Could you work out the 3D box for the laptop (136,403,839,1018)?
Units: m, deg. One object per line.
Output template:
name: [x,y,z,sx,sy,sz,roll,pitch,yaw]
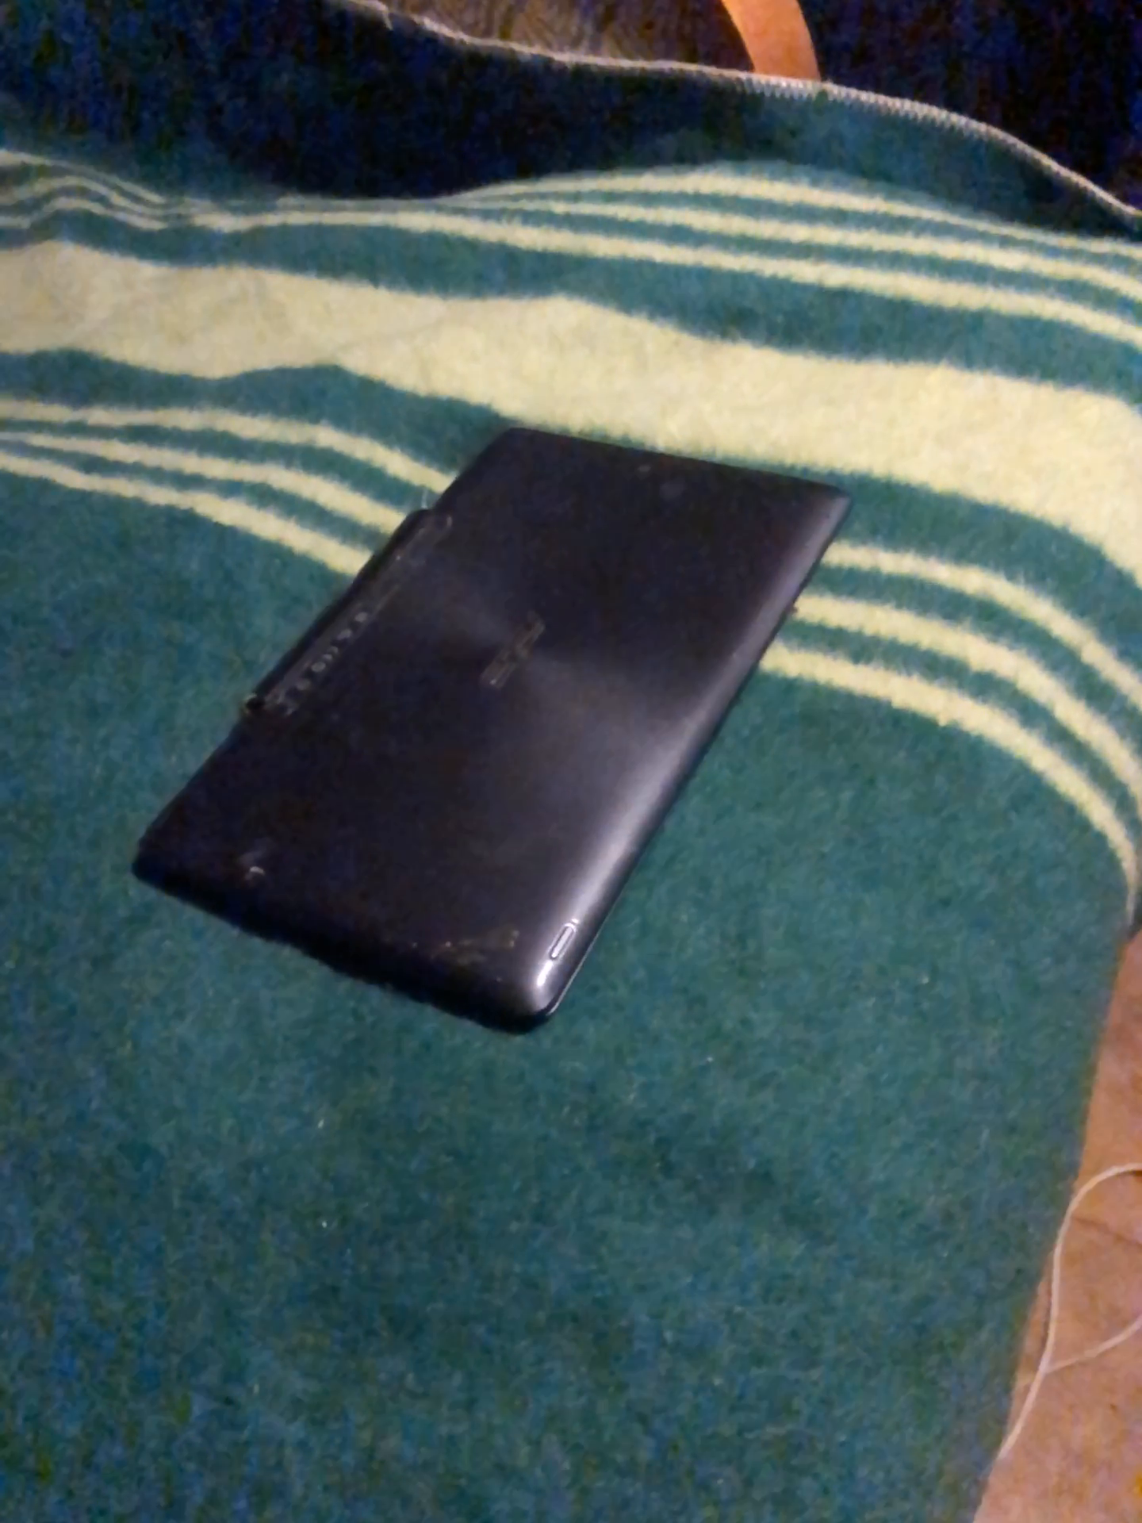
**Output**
laptop: [-0.022,-0.044,0.485,0.167,0.017,0.263,17,55,24]
